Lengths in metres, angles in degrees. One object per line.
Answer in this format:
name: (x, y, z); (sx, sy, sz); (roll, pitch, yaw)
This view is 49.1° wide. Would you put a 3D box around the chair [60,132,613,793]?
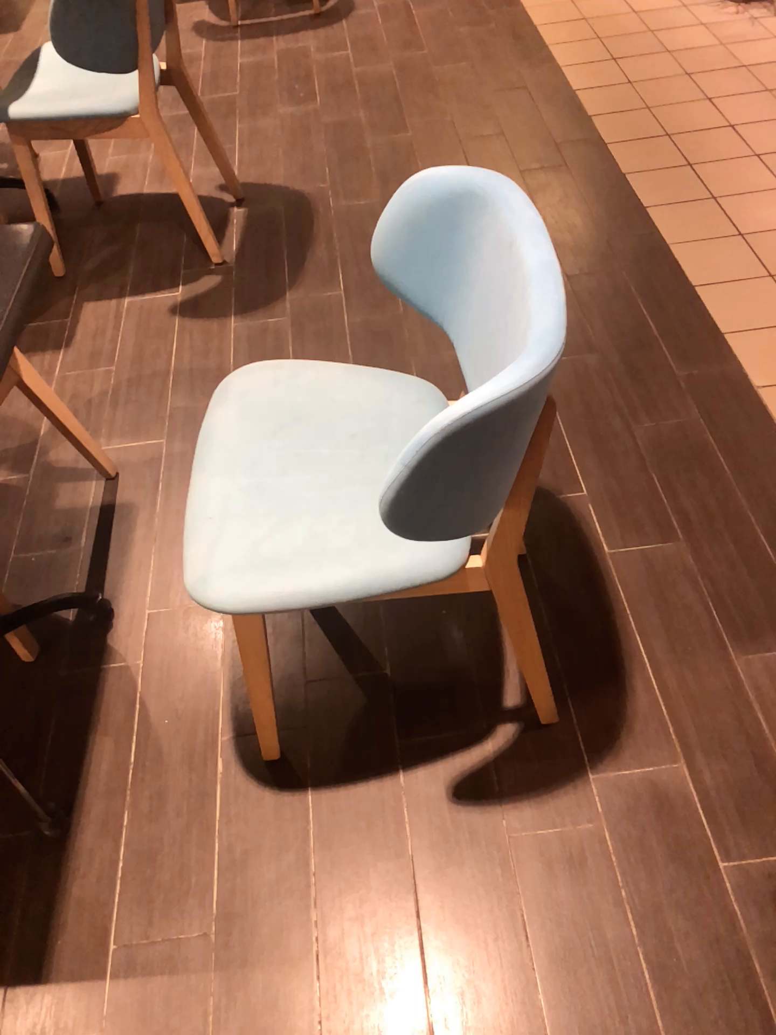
chair: (-0.026, -0.022, 1.242); (0.510, 0.817, 0.482); (-5, 48, 2)
